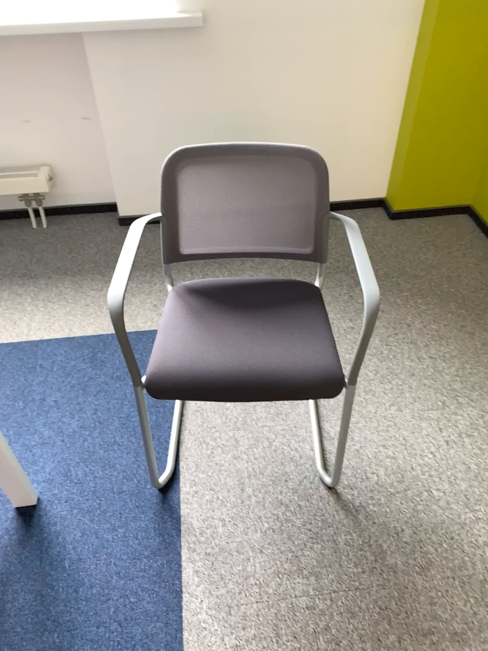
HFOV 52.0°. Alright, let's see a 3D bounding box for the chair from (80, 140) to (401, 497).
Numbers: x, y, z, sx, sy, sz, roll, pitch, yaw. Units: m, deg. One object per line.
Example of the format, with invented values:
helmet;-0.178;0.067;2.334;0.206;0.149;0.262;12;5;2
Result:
chair;0.003;-0.003;1.261;0.530;0.726;0.523;1;42;1
